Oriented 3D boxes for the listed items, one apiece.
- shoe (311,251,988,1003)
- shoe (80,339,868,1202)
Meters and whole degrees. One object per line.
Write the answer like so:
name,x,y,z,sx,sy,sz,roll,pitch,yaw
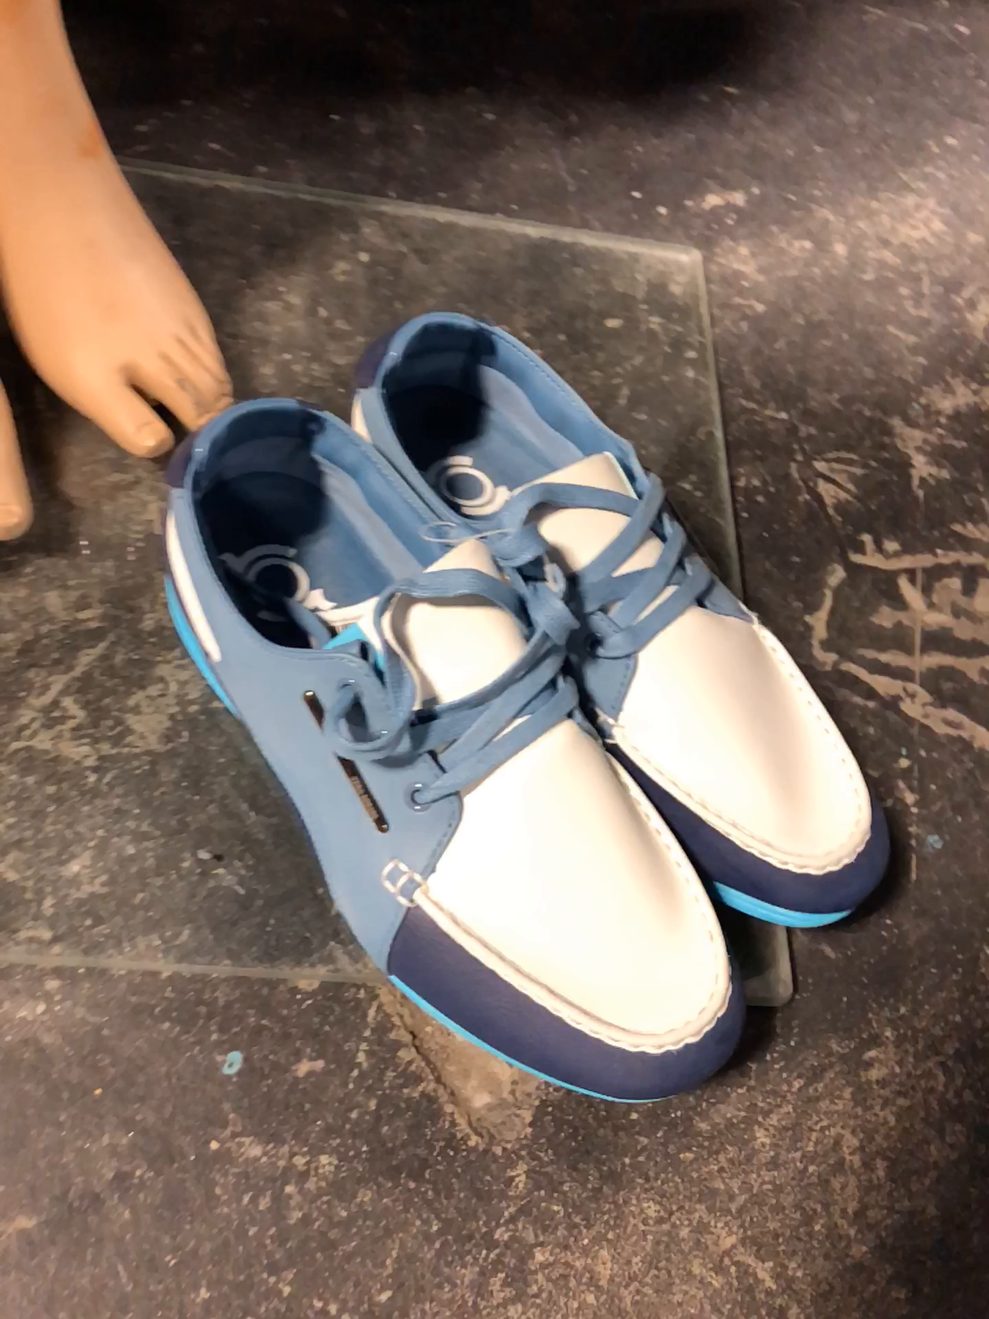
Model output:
shoe,0.046,-0.018,0.404,0.100,0.099,0.251,-32,70,-24
shoe,-0.022,0.029,0.361,0.090,0.099,0.261,-31,69,-26
